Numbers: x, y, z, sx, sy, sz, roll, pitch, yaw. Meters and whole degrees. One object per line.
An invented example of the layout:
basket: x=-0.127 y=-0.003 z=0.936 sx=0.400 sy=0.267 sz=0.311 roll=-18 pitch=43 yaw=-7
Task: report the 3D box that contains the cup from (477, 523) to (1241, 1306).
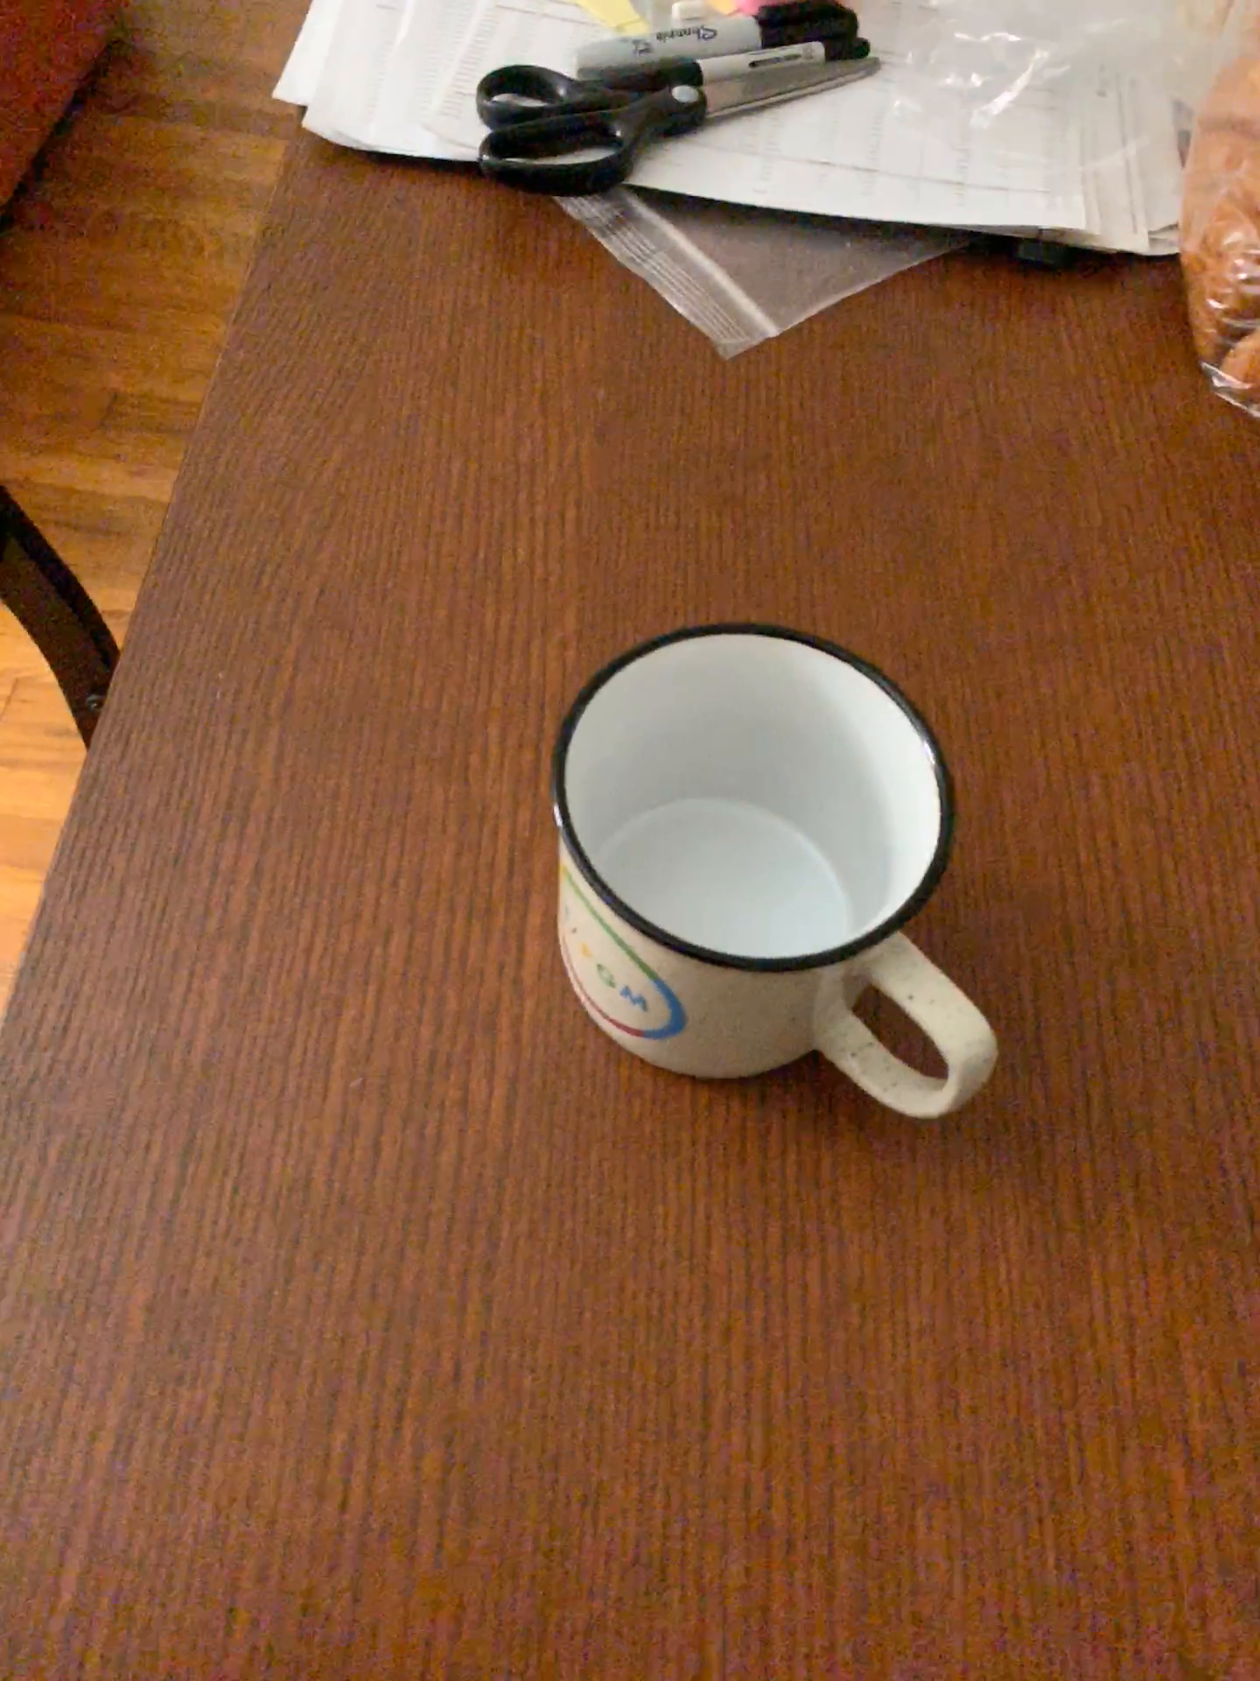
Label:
cup: x=0.047 y=0.019 z=0.340 sx=0.100 sy=0.100 sz=0.150 roll=-35 pitch=69 yaw=-21
